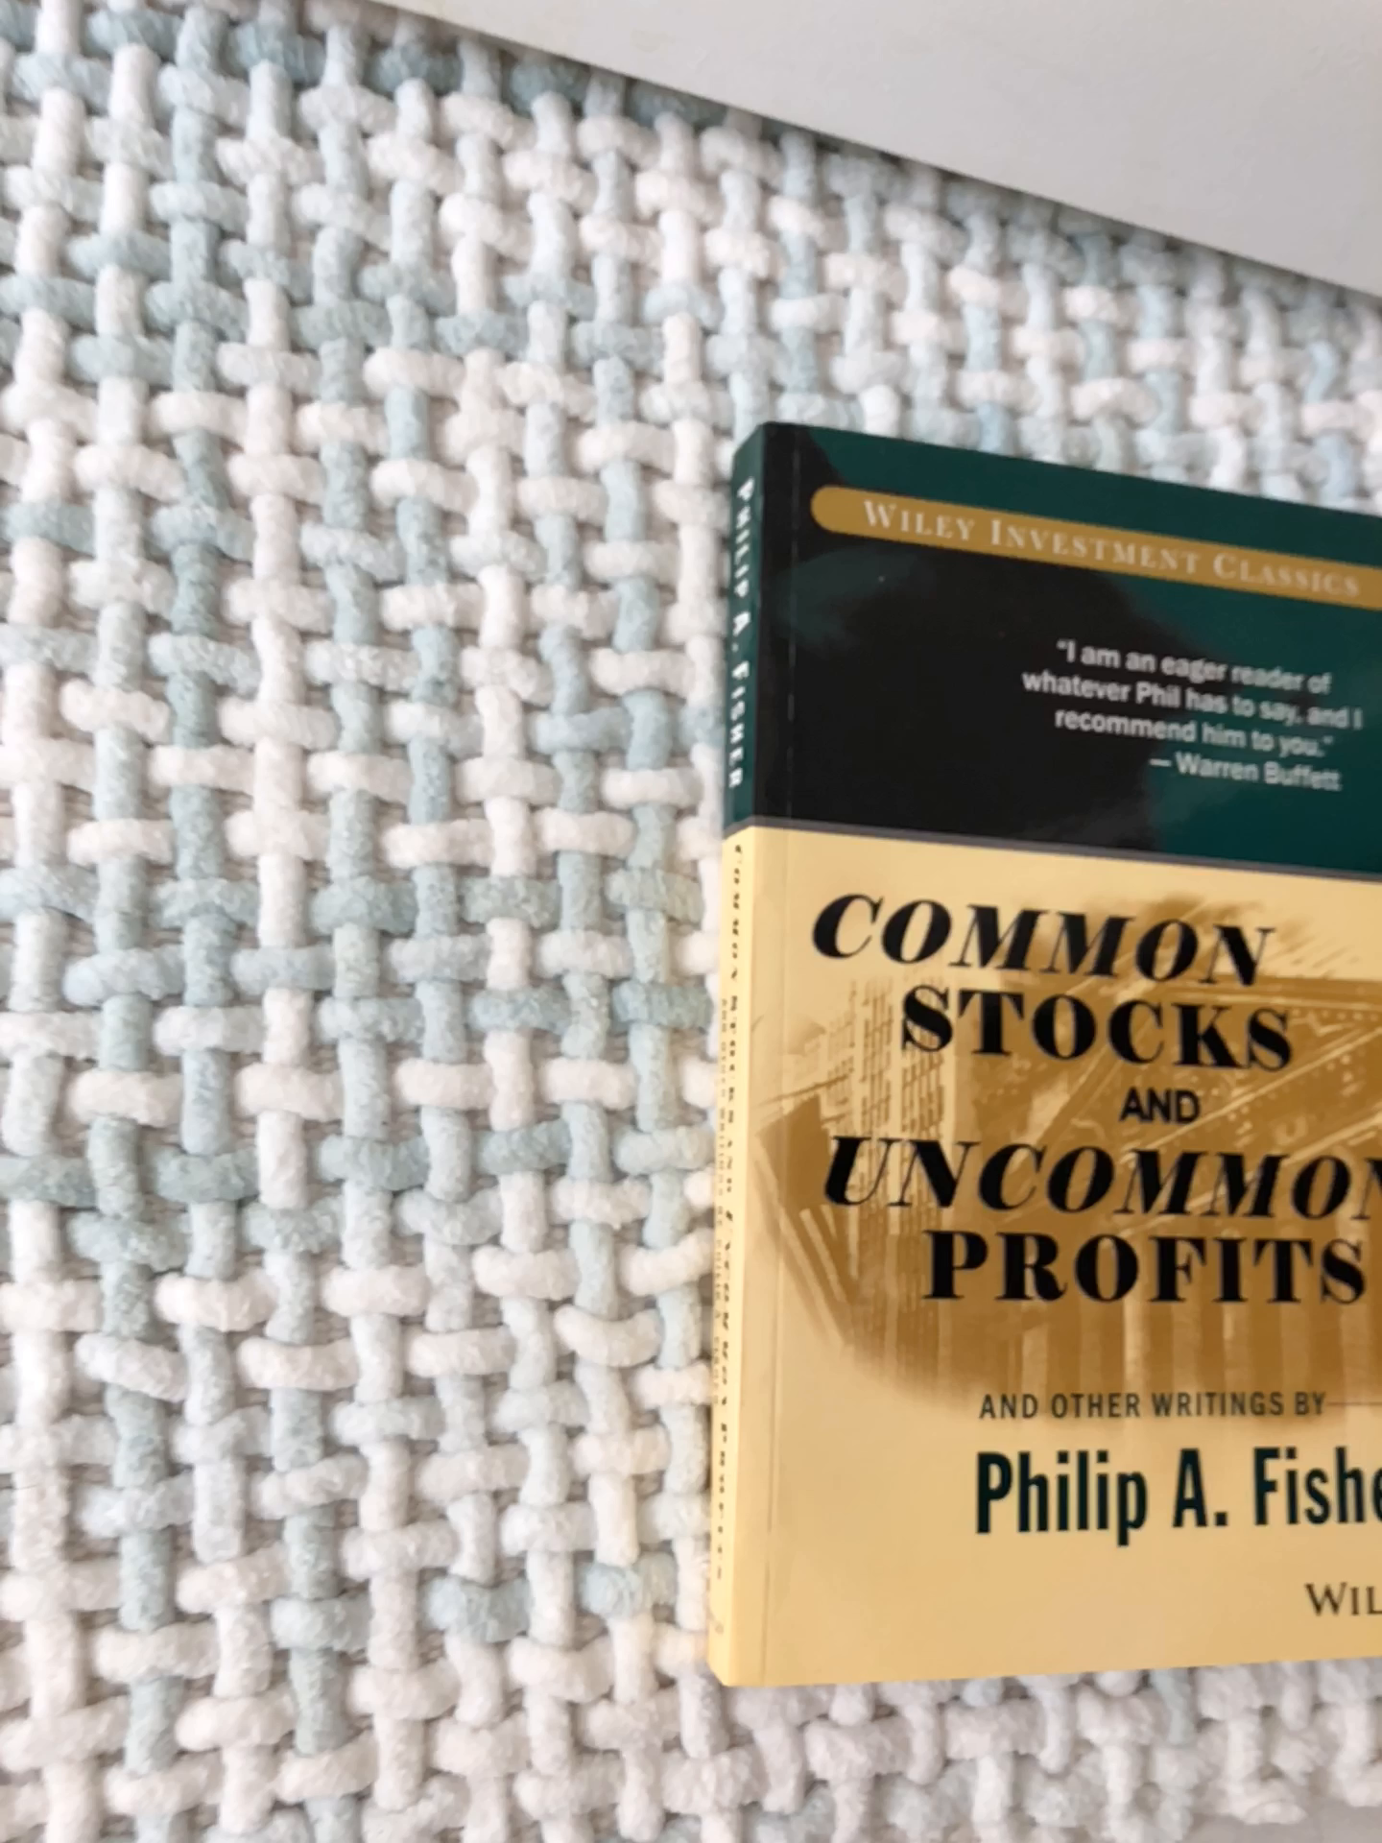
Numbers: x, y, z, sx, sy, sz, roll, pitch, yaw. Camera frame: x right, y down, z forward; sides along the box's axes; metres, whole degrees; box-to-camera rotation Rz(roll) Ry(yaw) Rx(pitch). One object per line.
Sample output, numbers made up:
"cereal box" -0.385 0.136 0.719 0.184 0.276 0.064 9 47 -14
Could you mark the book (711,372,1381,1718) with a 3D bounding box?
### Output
"book" 0.091 0.022 0.318 0.166 0.027 0.247 4 81 -14
